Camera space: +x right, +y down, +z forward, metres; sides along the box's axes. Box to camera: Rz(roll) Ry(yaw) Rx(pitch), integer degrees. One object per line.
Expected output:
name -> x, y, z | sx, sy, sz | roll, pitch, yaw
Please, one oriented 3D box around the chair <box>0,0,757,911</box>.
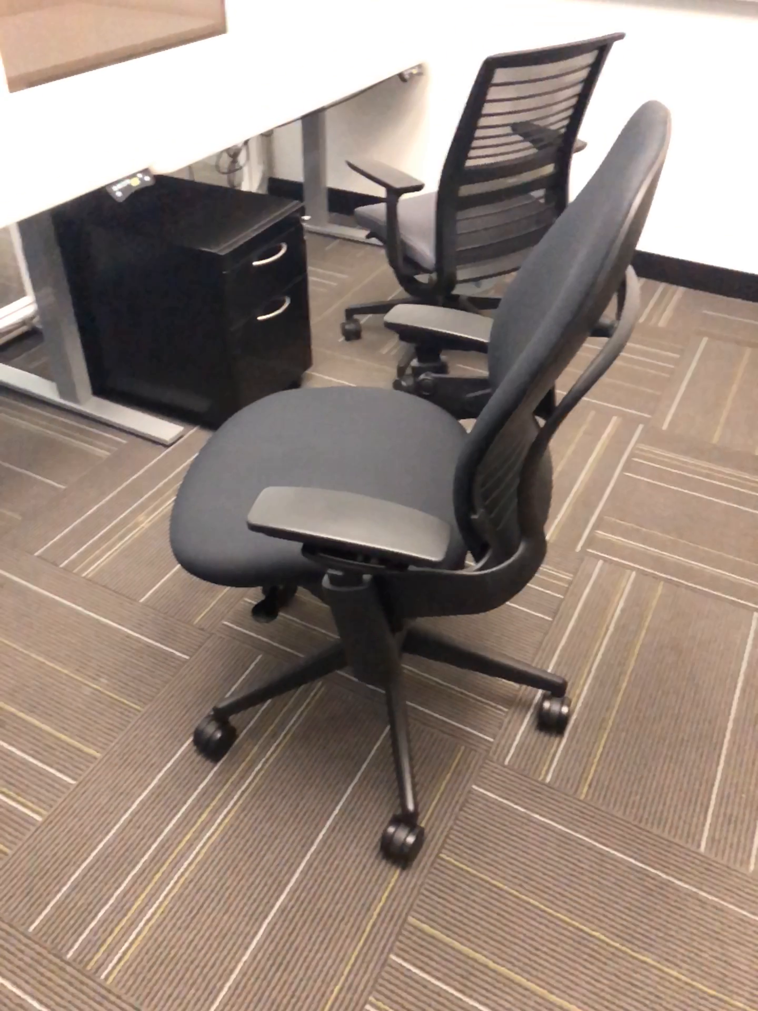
chair -> -0.017, -0.107, 1.243 | 0.830, 1.035, 0.733 | 10, 39, 11
